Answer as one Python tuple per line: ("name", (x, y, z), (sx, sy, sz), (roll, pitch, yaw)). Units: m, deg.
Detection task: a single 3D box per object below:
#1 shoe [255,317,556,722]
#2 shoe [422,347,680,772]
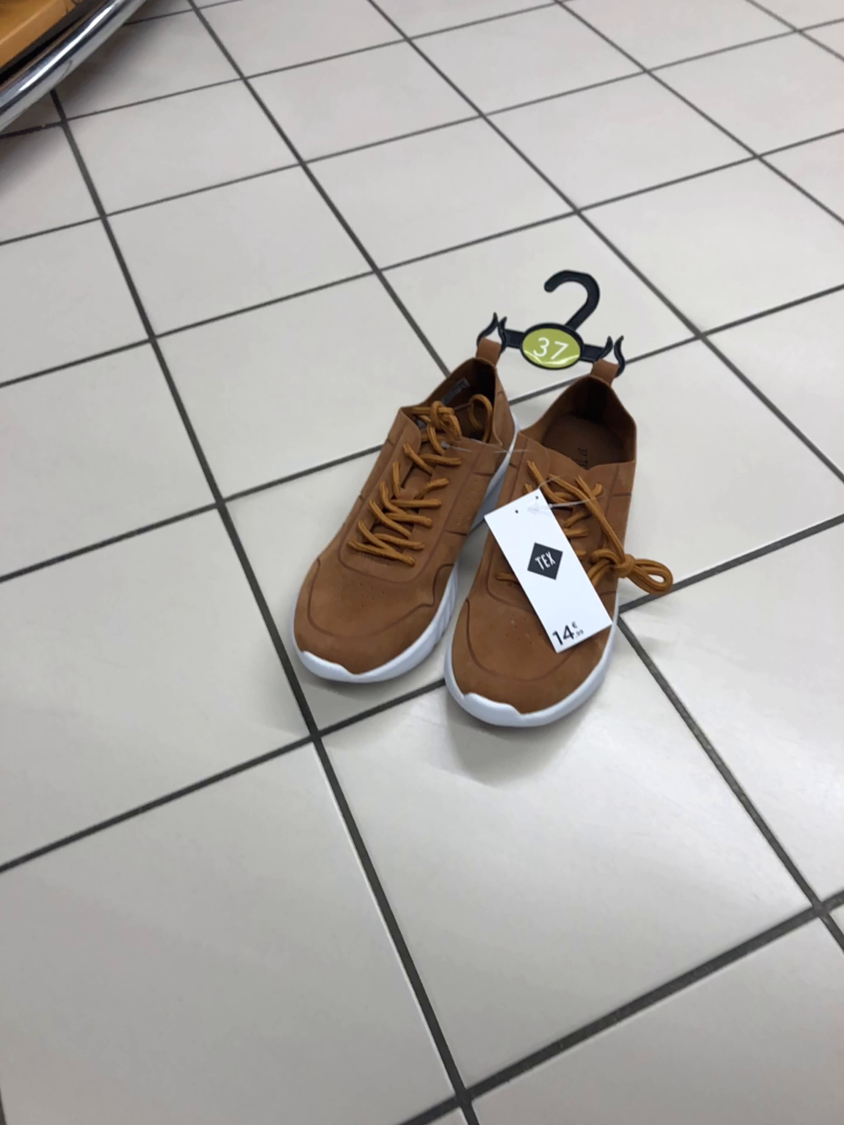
("shoe", (0.001, -0.034, 0.565), (0.090, 0.099, 0.221), (17, 55, 16))
("shoe", (0.082, -0.010, 0.560), (0.090, 0.099, 0.231), (14, 54, 13))
